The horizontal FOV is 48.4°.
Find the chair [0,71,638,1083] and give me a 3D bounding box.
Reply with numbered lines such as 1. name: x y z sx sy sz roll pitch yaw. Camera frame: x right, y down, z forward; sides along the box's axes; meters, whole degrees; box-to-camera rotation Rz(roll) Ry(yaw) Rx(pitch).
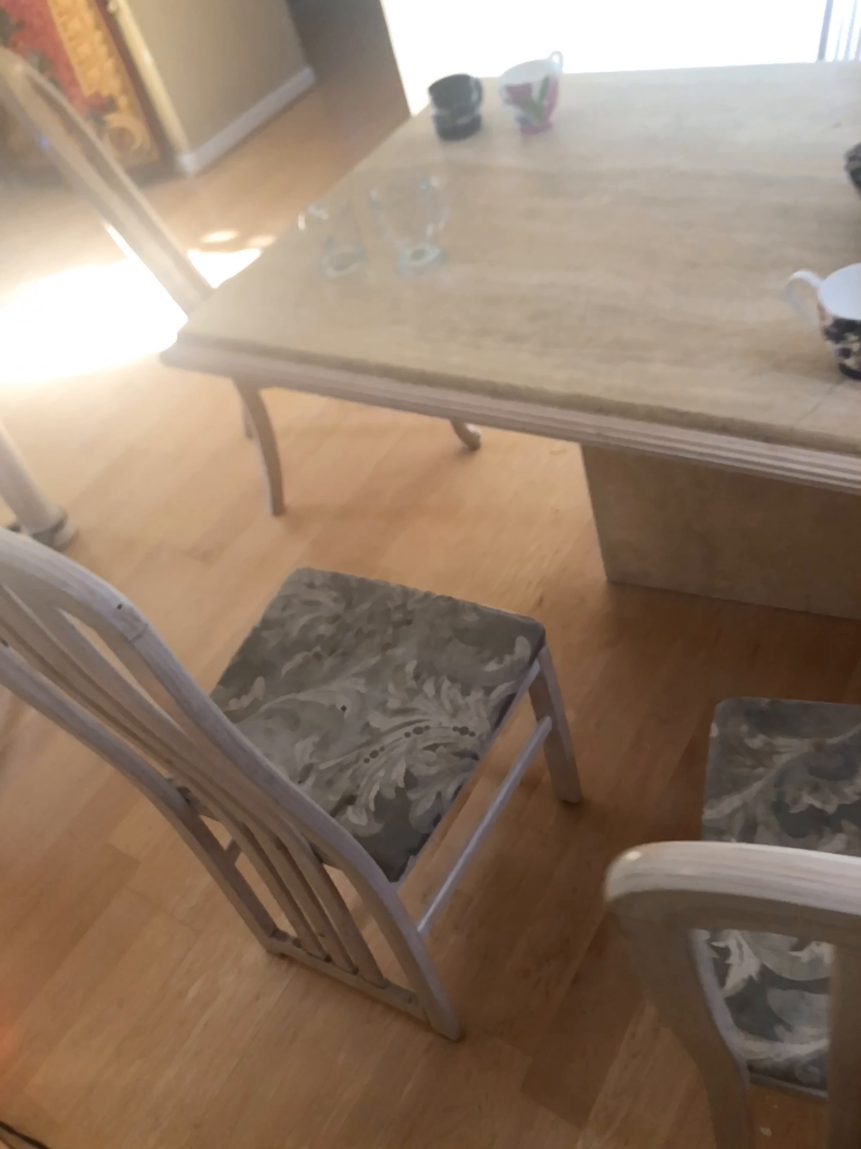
1. chair: -0.128 0.090 1.224 0.481 1.142 0.563 13 54 30

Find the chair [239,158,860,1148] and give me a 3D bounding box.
1. chair: 0.357 0.276 0.995 0.480 1.142 0.564 8 49 27
